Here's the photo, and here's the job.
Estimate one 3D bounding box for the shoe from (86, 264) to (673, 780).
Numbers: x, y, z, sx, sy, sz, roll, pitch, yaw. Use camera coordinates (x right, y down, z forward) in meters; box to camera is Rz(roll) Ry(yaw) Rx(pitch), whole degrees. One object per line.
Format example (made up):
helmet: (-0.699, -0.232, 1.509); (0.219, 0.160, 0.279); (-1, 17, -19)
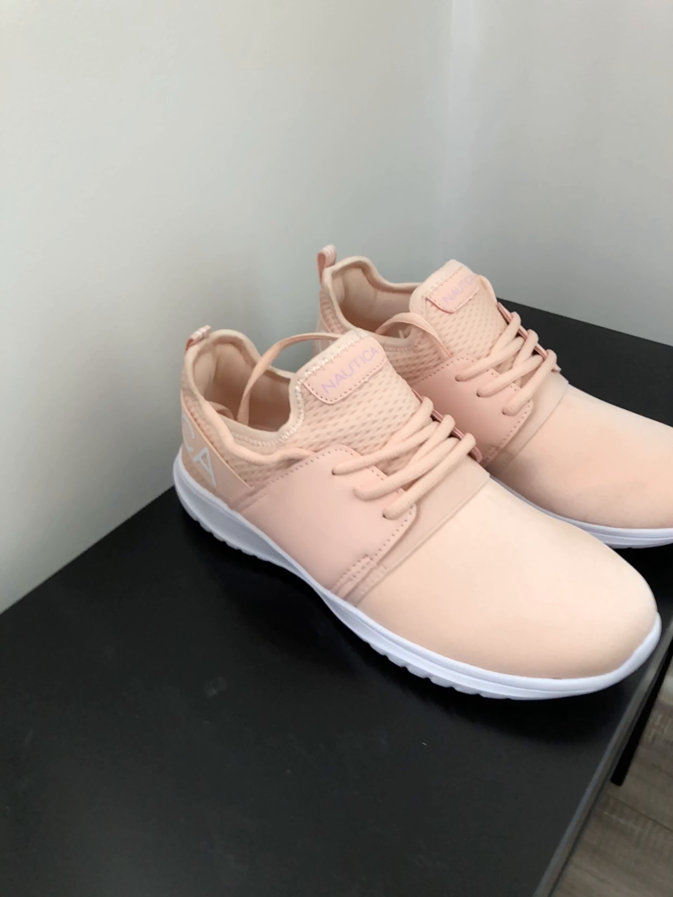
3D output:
shoe: (0.019, 0.013, 0.341); (0.251, 0.110, 0.100); (23, 44, 29)

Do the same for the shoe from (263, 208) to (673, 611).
shoe: (0.089, -0.036, 0.398); (0.241, 0.110, 0.100); (23, 44, 29)
